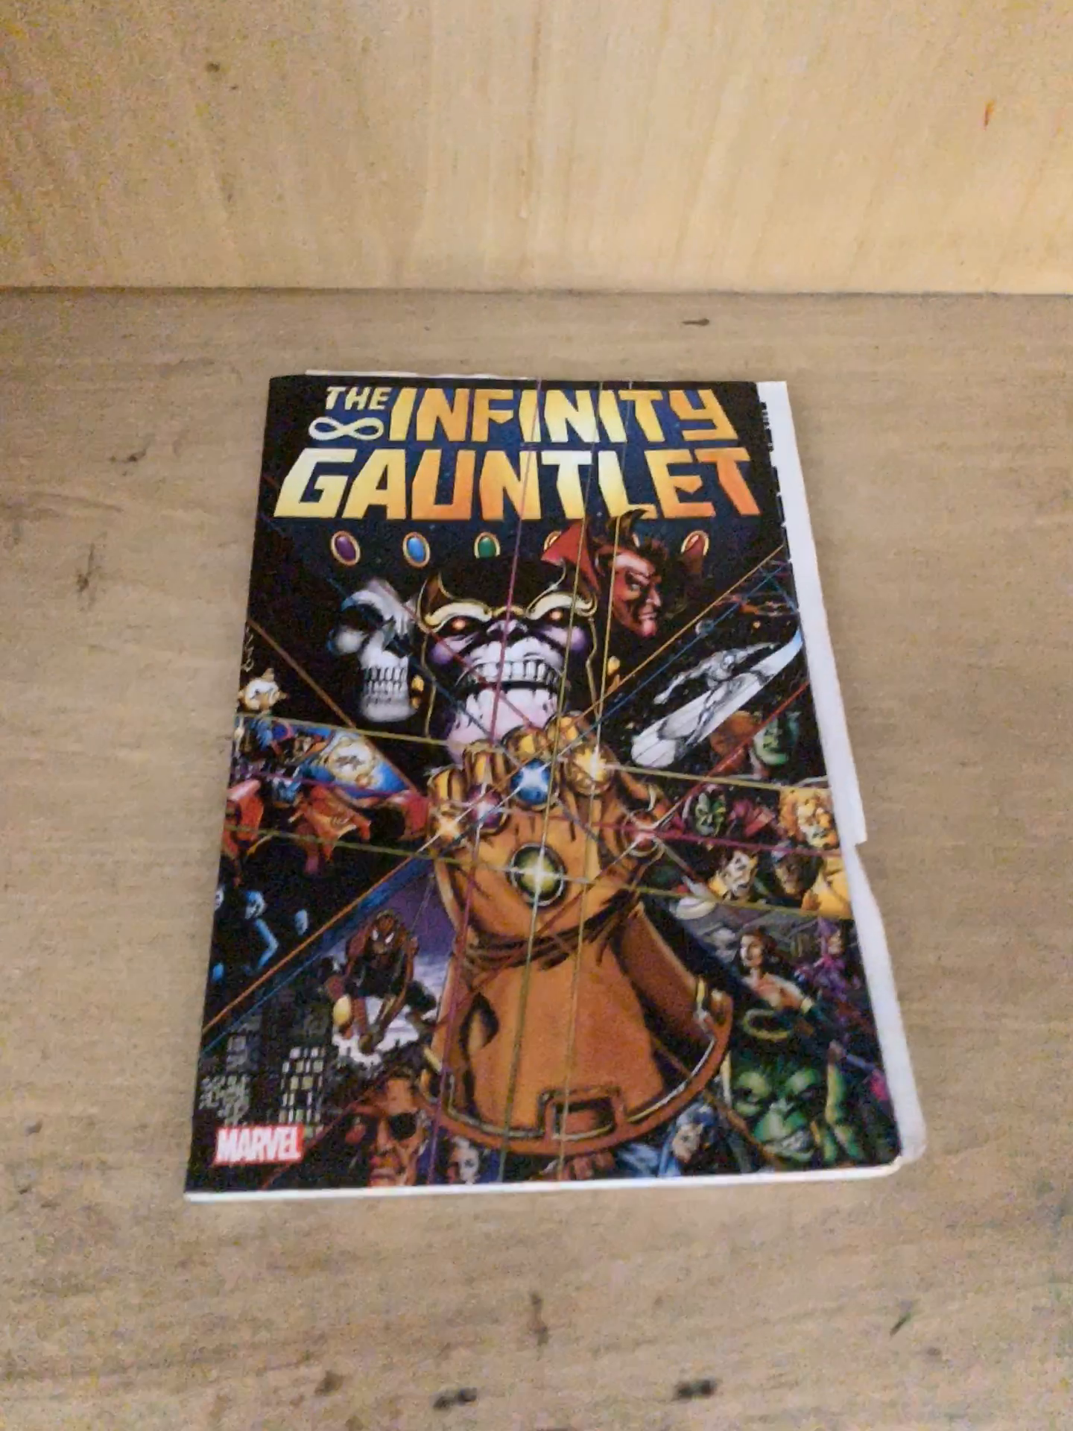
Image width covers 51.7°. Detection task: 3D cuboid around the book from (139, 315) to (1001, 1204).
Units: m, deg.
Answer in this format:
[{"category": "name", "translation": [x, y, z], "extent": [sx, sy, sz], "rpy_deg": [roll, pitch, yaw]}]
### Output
[{"category": "book", "translation": [0.005, -0.009, 0.323], "extent": [0.190, 0.030, 0.271], "rpy_deg": [0, 61, -3]}]
